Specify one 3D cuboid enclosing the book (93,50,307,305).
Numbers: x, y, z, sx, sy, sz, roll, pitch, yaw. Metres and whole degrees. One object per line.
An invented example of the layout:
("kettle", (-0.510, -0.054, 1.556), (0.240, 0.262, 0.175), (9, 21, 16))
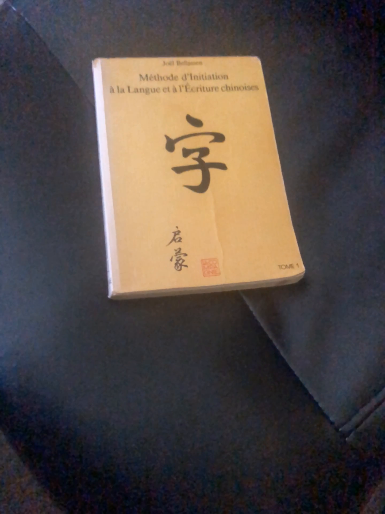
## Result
("book", (-0.002, -0.077, 0.366), (0.152, 0.029, 0.220), (-5, 70, -6))
